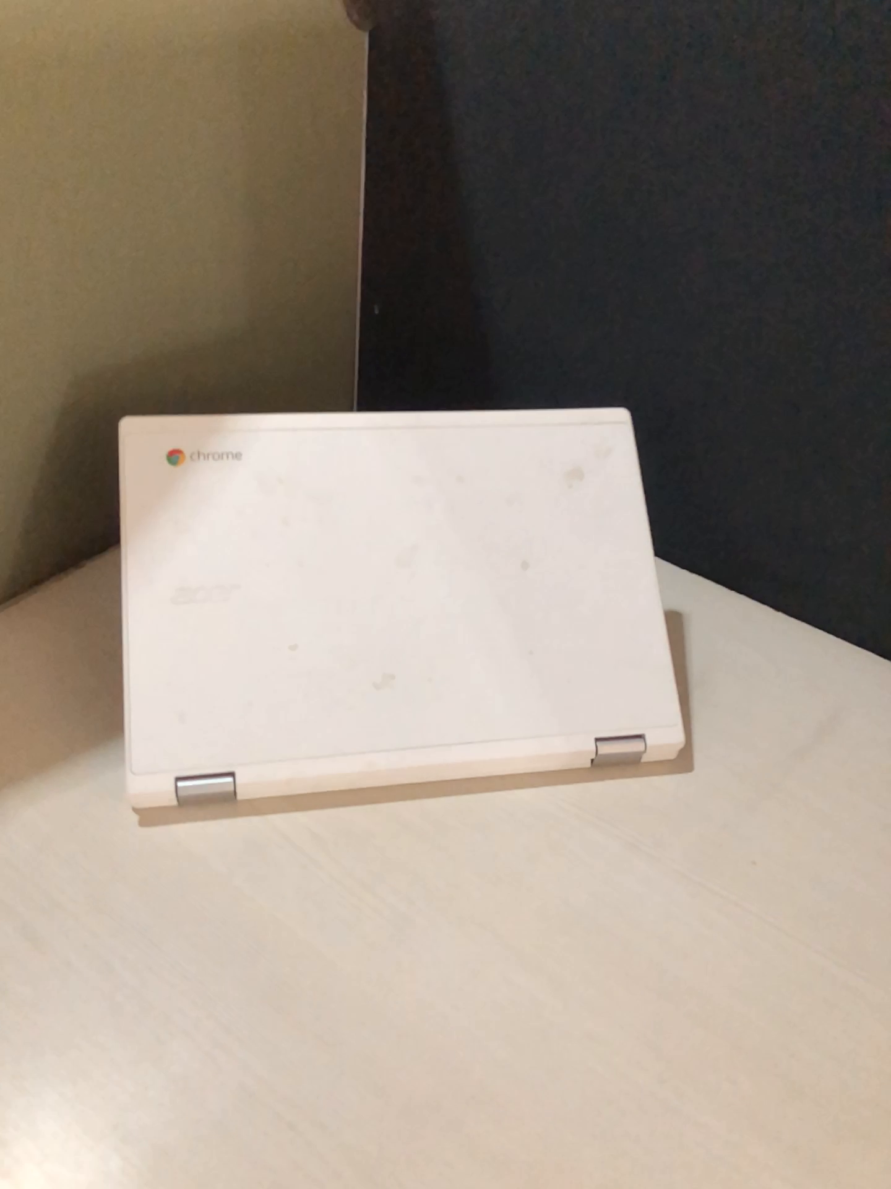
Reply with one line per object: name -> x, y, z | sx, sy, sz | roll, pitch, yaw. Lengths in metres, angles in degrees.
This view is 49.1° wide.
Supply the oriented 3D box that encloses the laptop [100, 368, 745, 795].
laptop -> -0.024, -0.021, 0.527 | 0.285, 0.114, 0.188 | -4, 40, -12
